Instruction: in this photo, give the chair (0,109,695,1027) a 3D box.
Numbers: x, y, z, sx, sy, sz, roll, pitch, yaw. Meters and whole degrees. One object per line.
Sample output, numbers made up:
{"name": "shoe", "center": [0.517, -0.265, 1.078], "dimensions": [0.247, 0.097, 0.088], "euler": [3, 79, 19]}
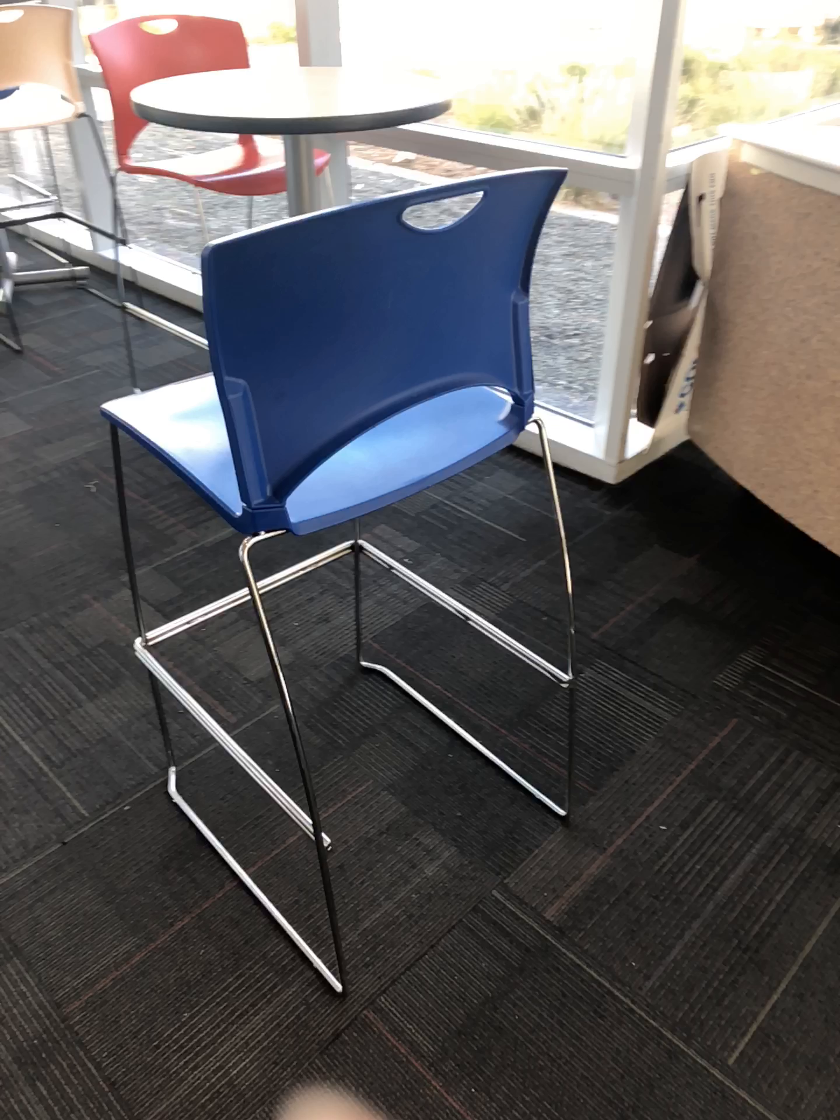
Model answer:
{"name": "chair", "center": [-0.115, -0.028, 1.275], "dimensions": [0.551, 0.965, 0.612], "euler": [-25, 40, -32]}
